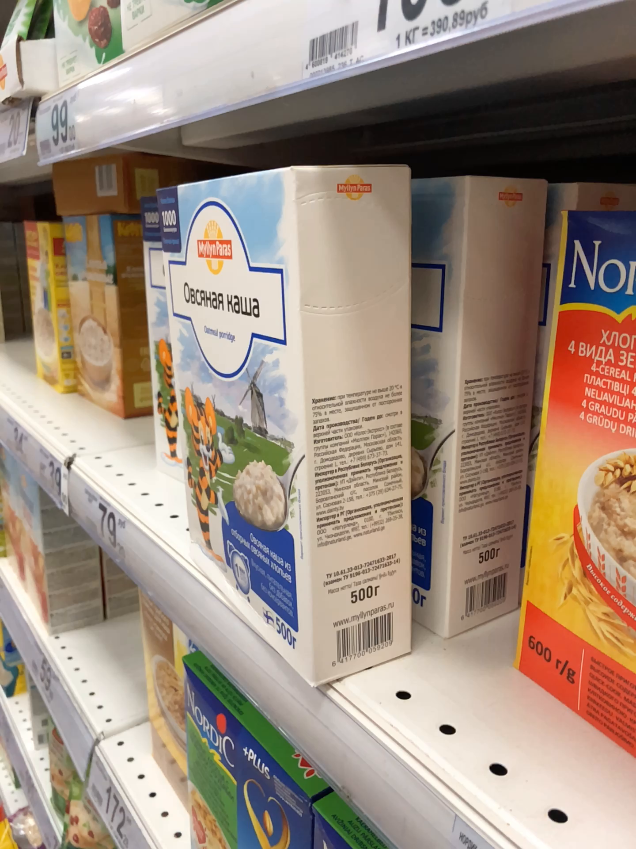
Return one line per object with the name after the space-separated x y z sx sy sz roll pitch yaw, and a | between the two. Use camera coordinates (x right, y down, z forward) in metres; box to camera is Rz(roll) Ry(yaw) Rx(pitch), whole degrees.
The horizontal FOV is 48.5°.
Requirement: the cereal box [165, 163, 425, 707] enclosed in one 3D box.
-0.017 -0.007 0.335 0.050 0.209 0.150 -10 18 -28 | cereal box
